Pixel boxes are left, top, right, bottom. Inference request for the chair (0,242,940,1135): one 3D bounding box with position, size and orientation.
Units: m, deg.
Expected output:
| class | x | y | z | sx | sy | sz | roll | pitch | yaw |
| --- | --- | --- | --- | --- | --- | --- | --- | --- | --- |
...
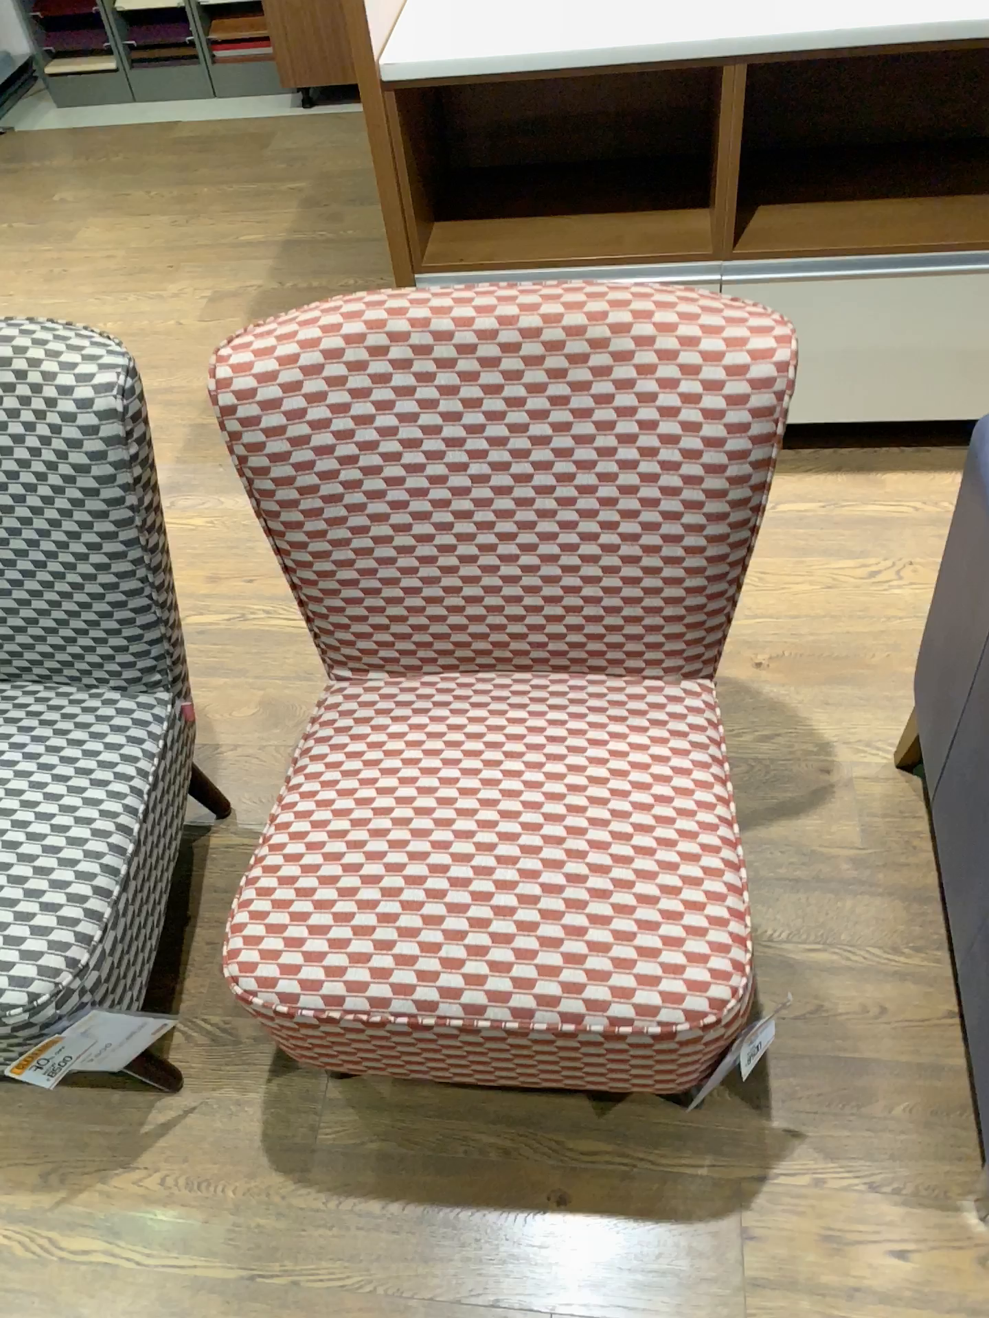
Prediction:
| class | x | y | z | sx | sy | sz | roll | pitch | yaw |
| --- | --- | --- | --- | --- | --- | --- | --- | --- | --- |
| chair | 0.003 | 0.087 | 1.200 | 0.700 | 0.868 | 0.611 | 0 | 49 | 8 |
